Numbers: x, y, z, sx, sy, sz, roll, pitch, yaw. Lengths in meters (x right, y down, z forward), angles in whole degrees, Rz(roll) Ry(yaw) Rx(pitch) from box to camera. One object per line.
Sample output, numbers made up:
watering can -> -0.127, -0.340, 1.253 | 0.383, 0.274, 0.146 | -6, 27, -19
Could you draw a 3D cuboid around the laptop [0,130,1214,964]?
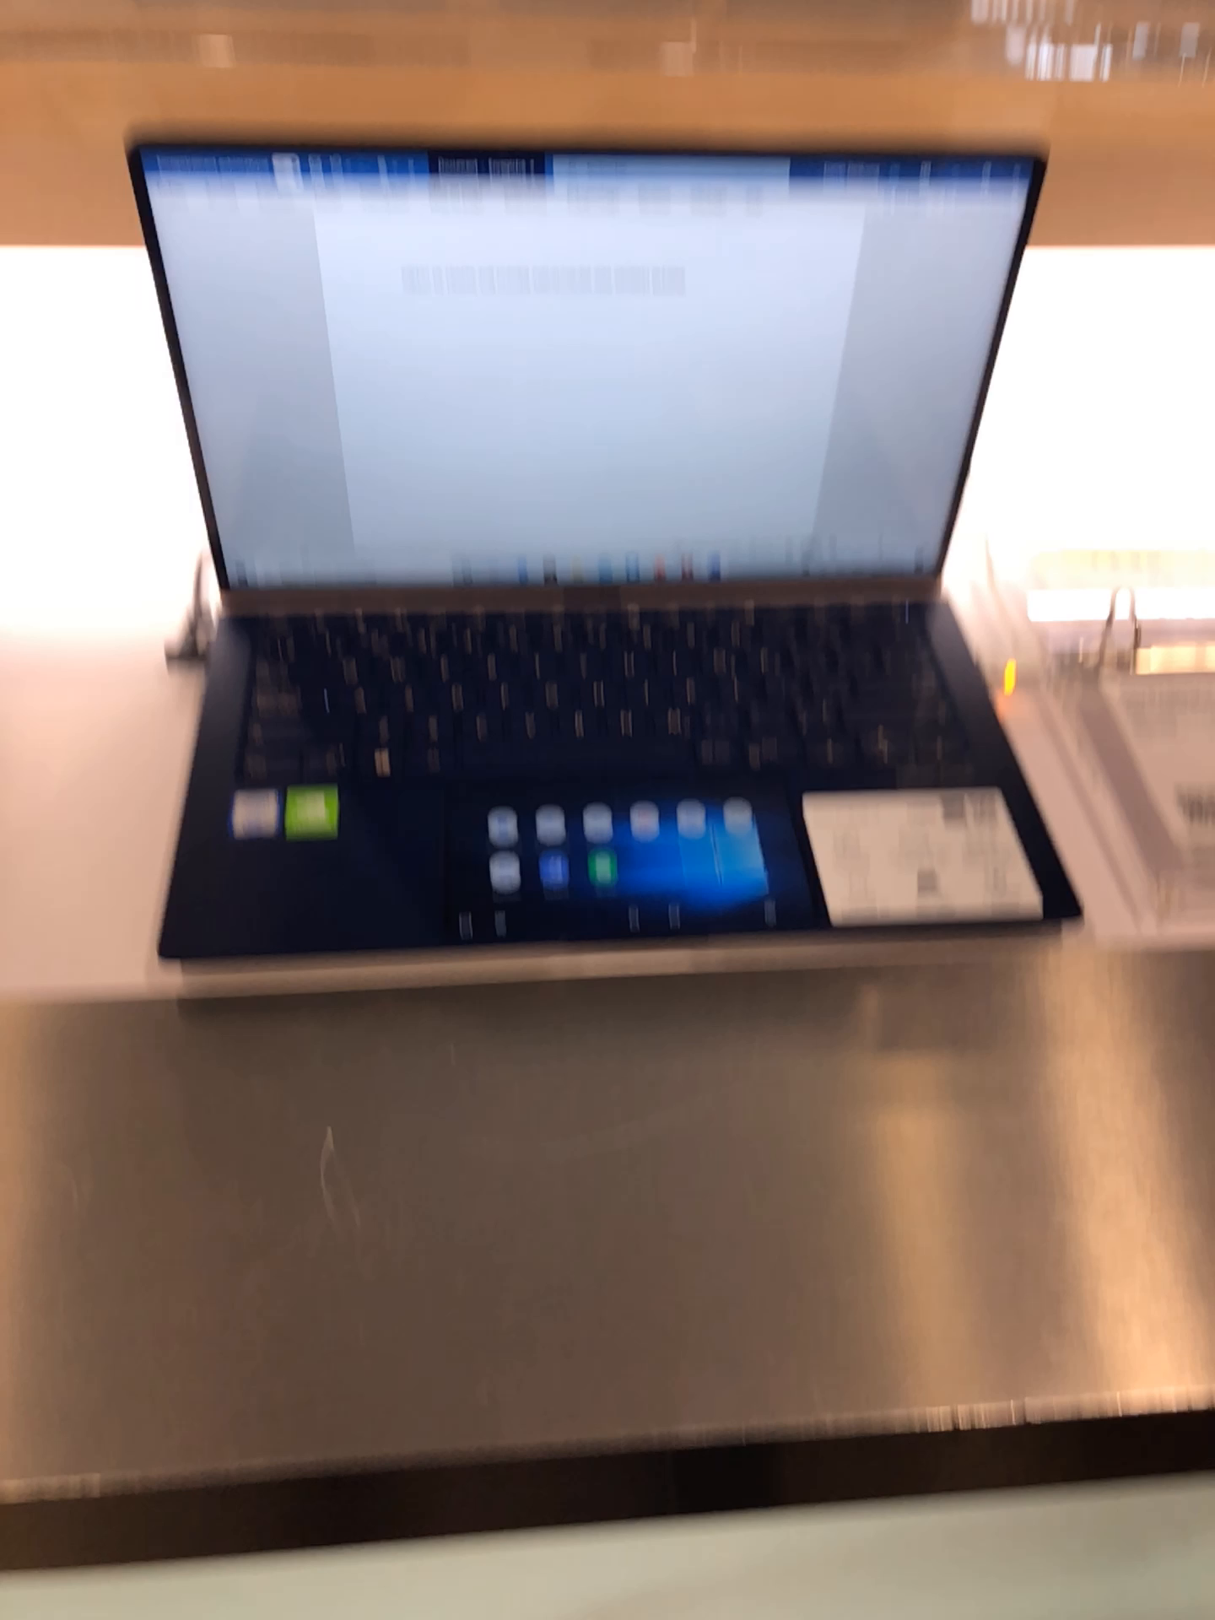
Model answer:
laptop -> 0.004, -0.093, 0.453 | 0.317, 0.193, 0.200 | -3, 46, -5
